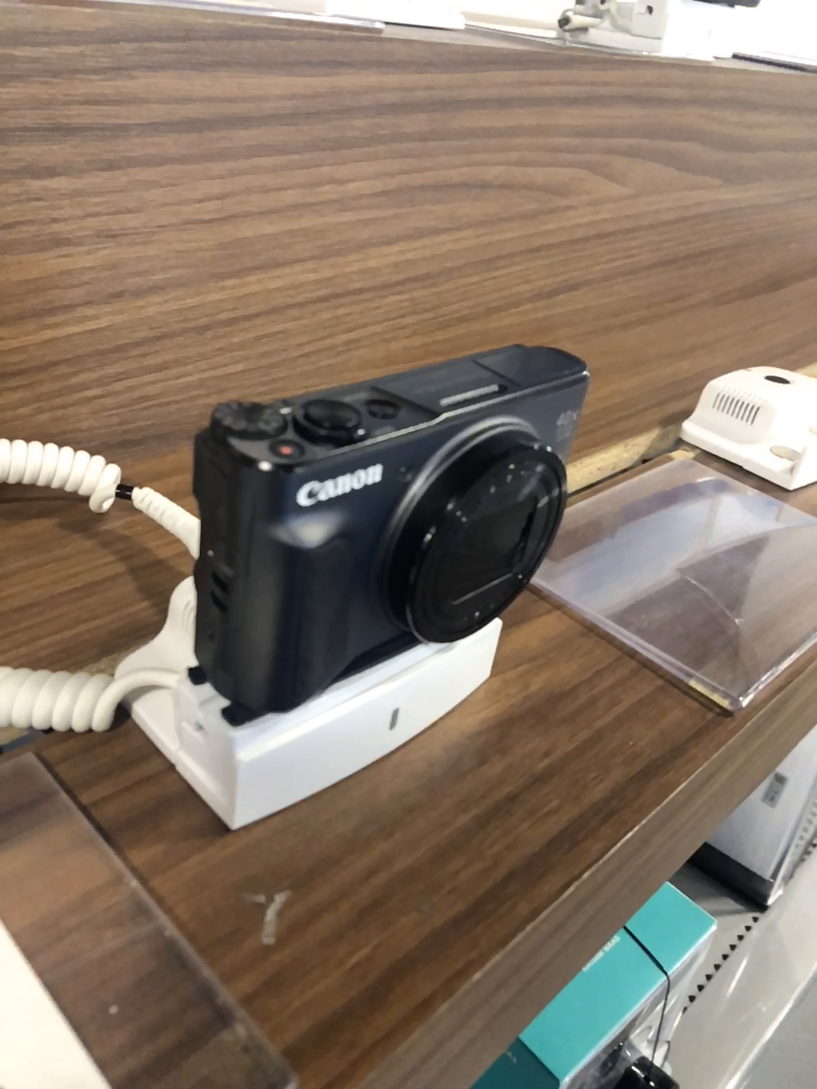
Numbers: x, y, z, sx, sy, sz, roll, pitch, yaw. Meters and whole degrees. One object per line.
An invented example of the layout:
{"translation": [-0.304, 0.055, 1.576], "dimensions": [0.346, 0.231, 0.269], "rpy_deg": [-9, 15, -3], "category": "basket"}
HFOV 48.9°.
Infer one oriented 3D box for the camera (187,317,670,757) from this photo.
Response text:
{"translation": [0.007, -0.009, 0.209], "dimensions": [0.110, 0.063, 0.037], "rpy_deg": [-23, 46, -40], "category": "camera"}
